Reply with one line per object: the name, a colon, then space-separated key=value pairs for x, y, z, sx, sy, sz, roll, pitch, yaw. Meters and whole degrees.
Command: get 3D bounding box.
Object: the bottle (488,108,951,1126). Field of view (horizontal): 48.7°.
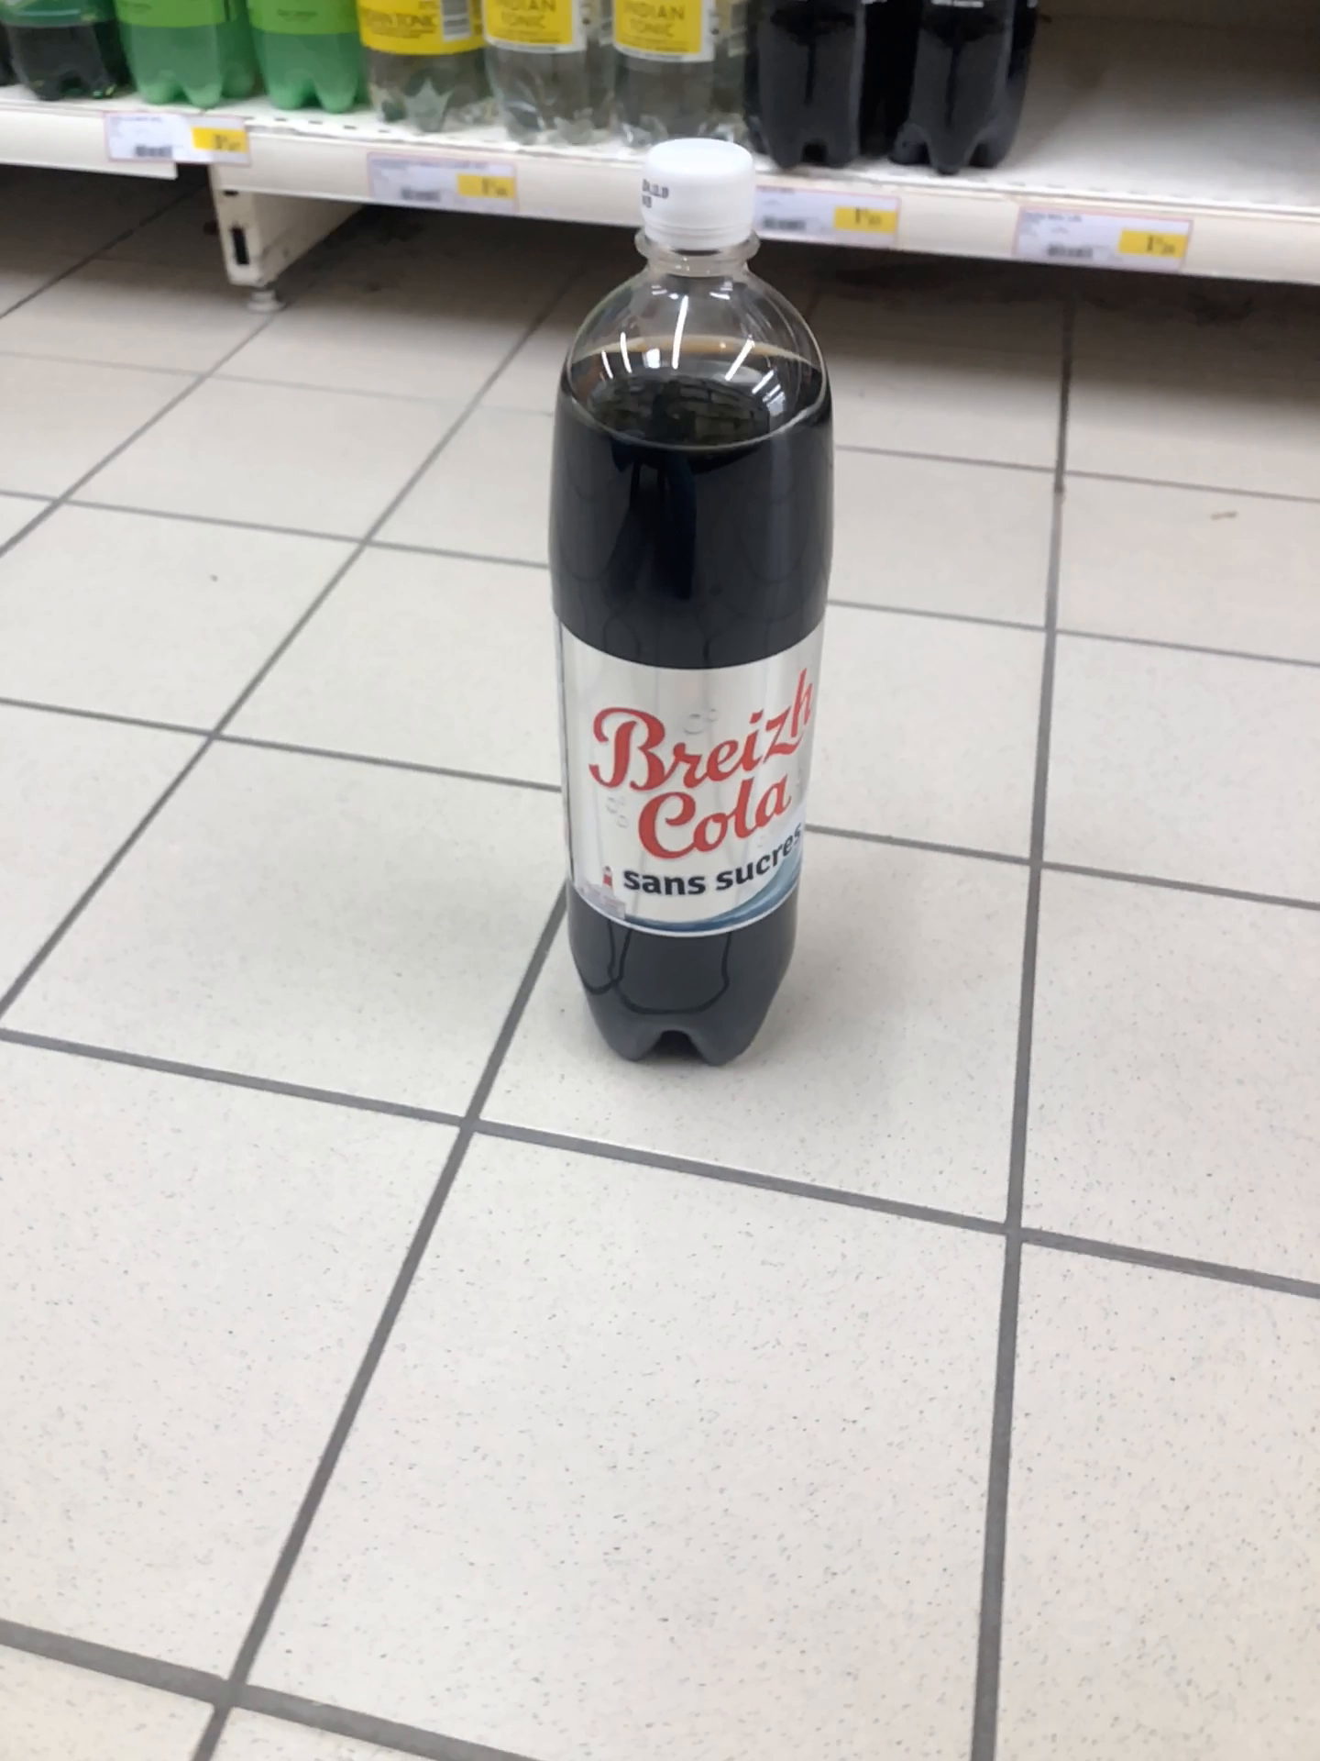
bottle: x=0.010 y=-0.066 z=0.481 sx=0.100 sy=0.318 sz=0.090 roll=-8 pitch=41 yaw=-11
